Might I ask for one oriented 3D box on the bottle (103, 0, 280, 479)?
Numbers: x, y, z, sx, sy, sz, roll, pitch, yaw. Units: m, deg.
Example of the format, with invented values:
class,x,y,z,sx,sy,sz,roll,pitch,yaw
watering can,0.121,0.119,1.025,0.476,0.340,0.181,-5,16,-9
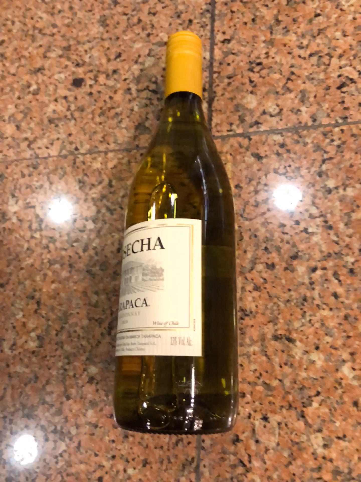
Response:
class,x,y,z,sx,sy,sz,roll,pitch,yaw
bottle,0.014,-0.034,0.291,0.090,0.070,0.341,-4,71,16
